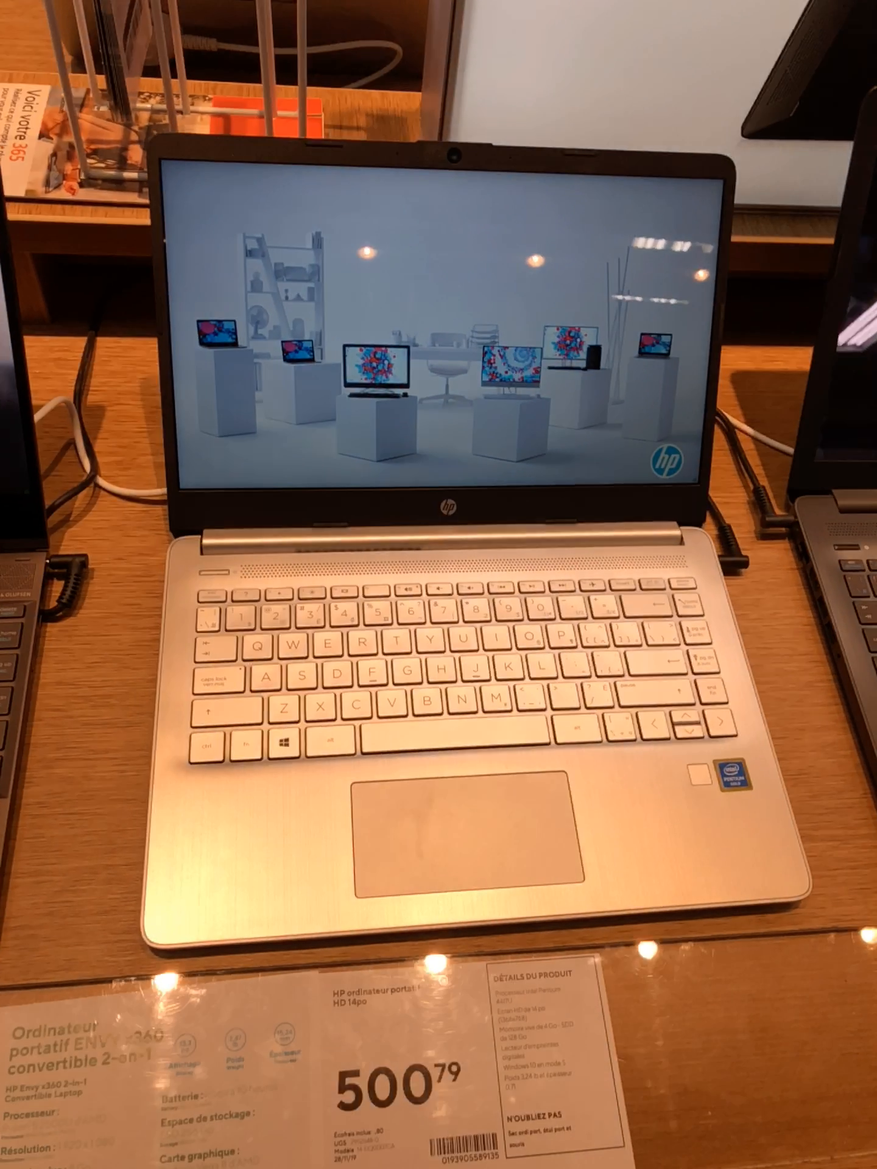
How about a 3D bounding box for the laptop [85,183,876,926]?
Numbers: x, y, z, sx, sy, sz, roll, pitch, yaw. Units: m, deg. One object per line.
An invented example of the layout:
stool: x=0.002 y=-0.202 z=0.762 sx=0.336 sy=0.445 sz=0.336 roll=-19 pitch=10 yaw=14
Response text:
laptop: x=0.015 y=-0.030 z=0.500 sx=0.308 sy=0.167 sz=0.347 roll=-2 pitch=56 yaw=-5
